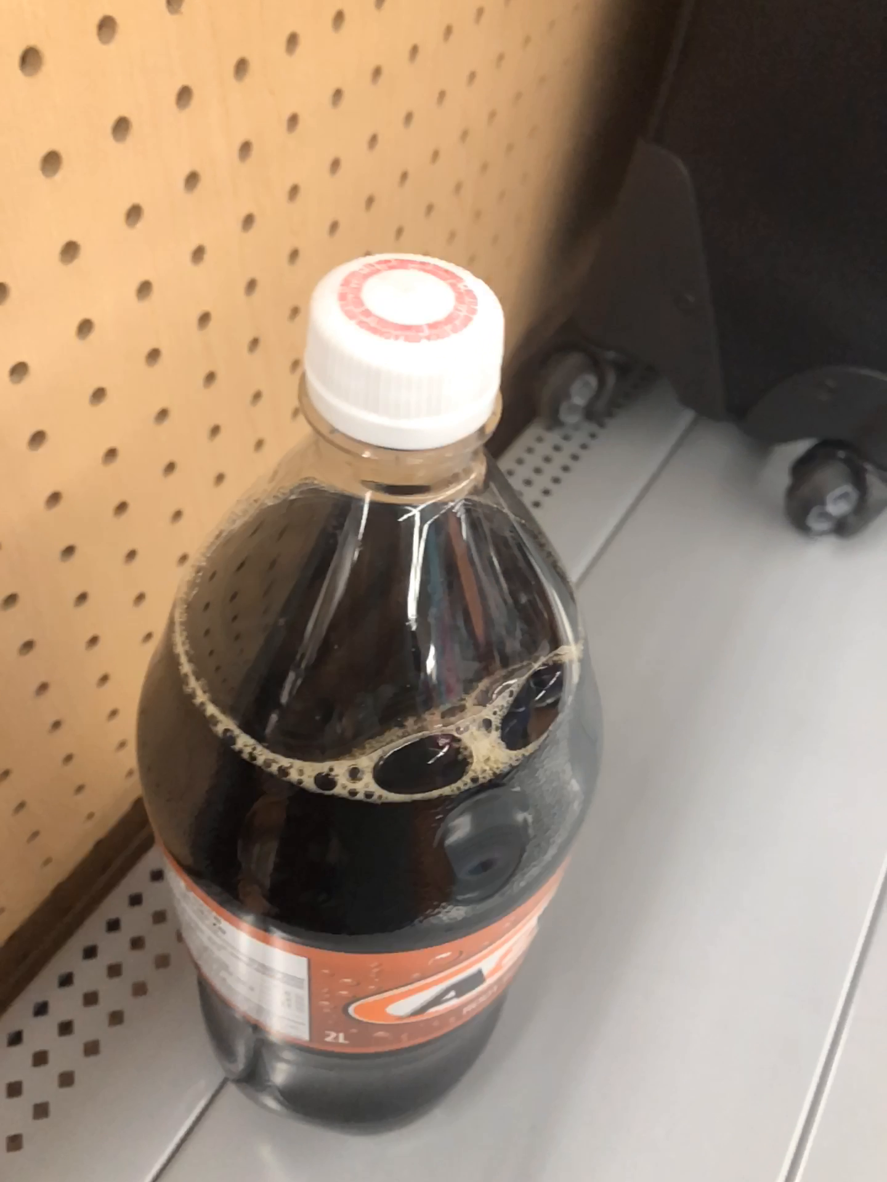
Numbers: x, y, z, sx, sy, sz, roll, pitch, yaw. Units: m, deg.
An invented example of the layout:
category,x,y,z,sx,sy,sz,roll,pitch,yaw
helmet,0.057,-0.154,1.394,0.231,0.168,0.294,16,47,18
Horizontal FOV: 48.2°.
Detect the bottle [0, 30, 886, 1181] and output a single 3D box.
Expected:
category,x,y,z,sx,sy,sz,roll,pitch,yaw
bottle,-0.016,0.054,0.257,0.120,0.308,0.120,4,50,-5
